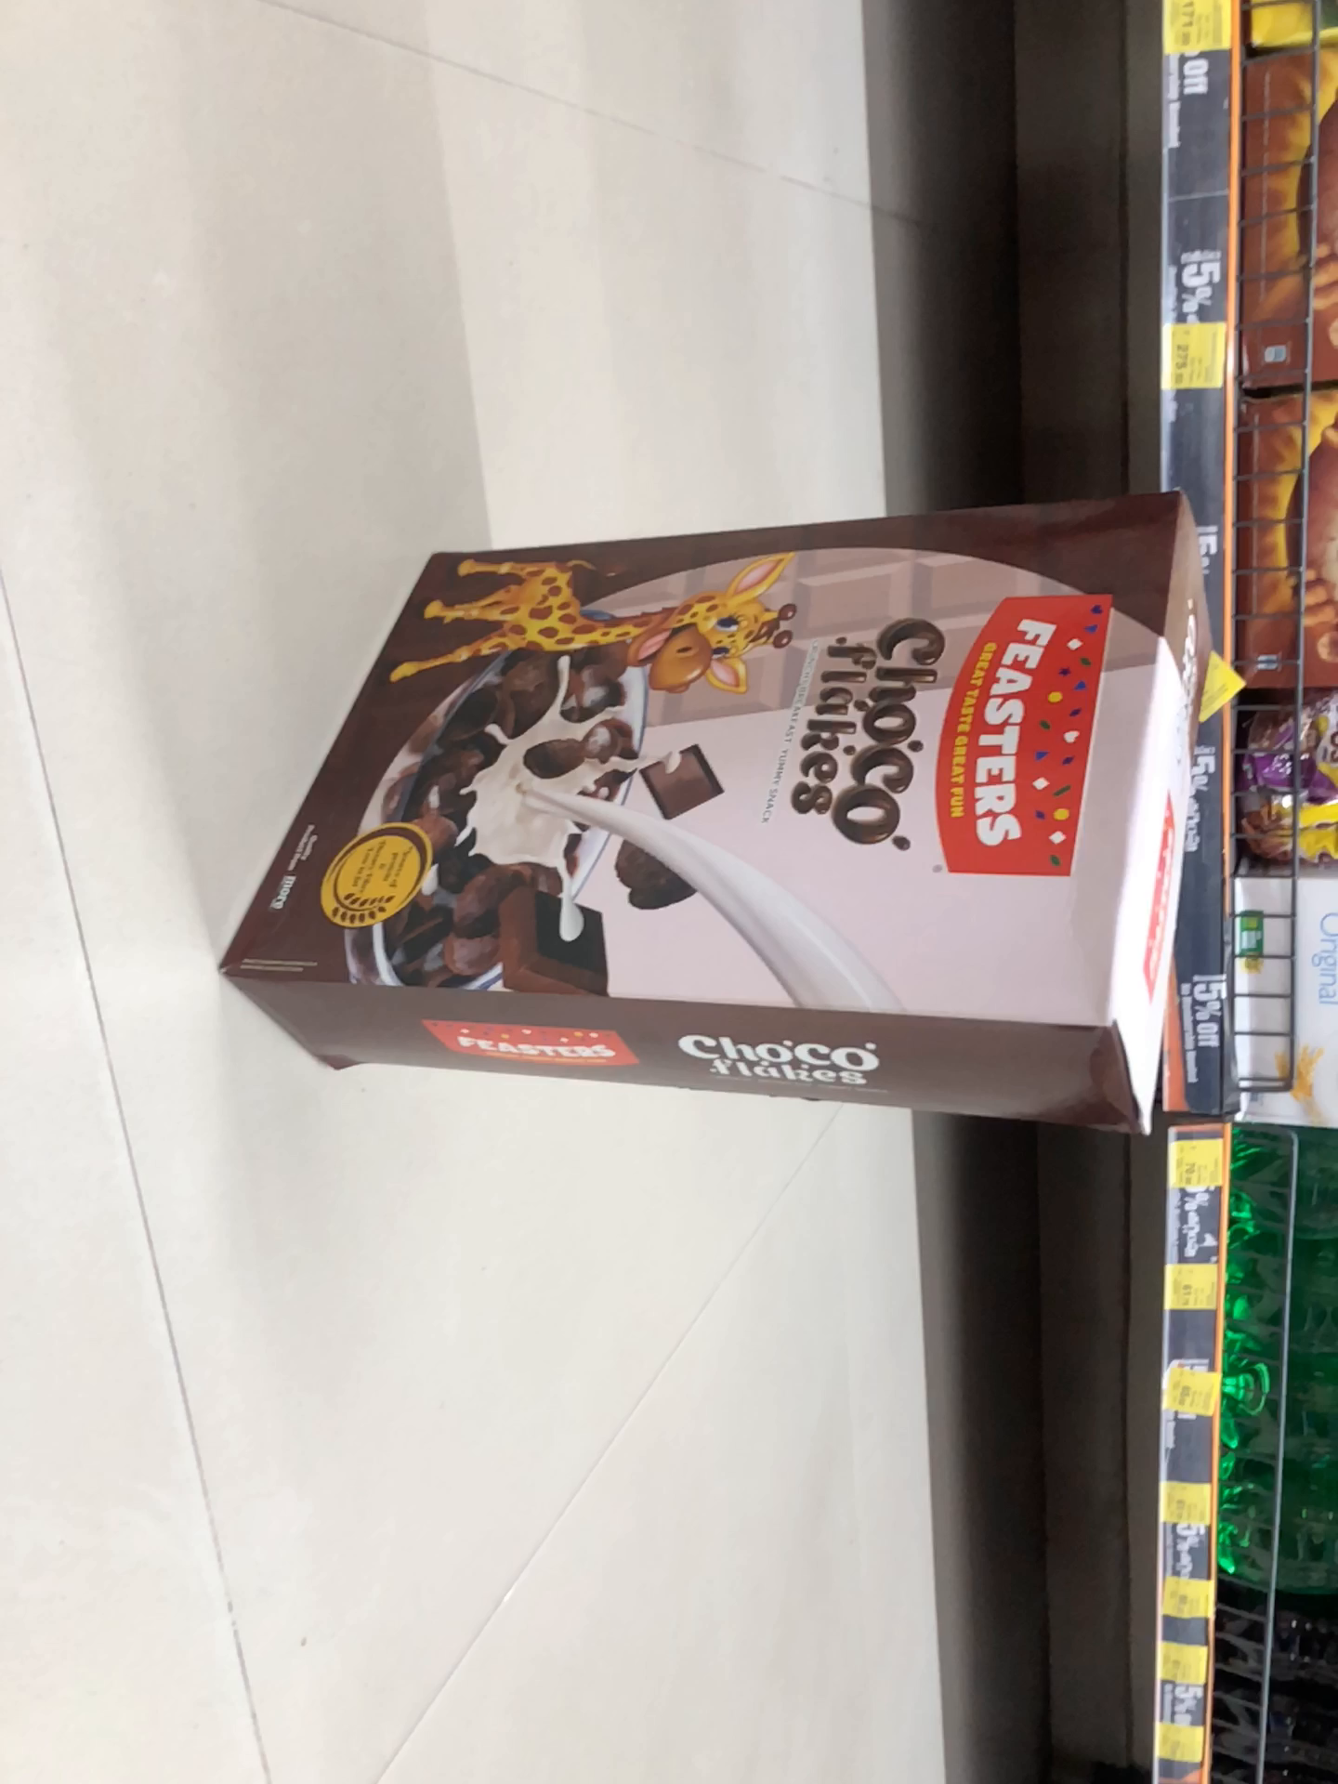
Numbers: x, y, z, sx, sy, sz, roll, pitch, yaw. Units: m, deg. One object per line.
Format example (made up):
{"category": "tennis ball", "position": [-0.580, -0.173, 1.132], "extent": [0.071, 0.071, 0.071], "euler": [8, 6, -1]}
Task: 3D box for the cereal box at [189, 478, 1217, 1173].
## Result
{"category": "cereal box", "position": [0.017, -0.030, 0.449], "extent": [0.050, 0.268, 0.200], "euler": [63, 36, -48]}
